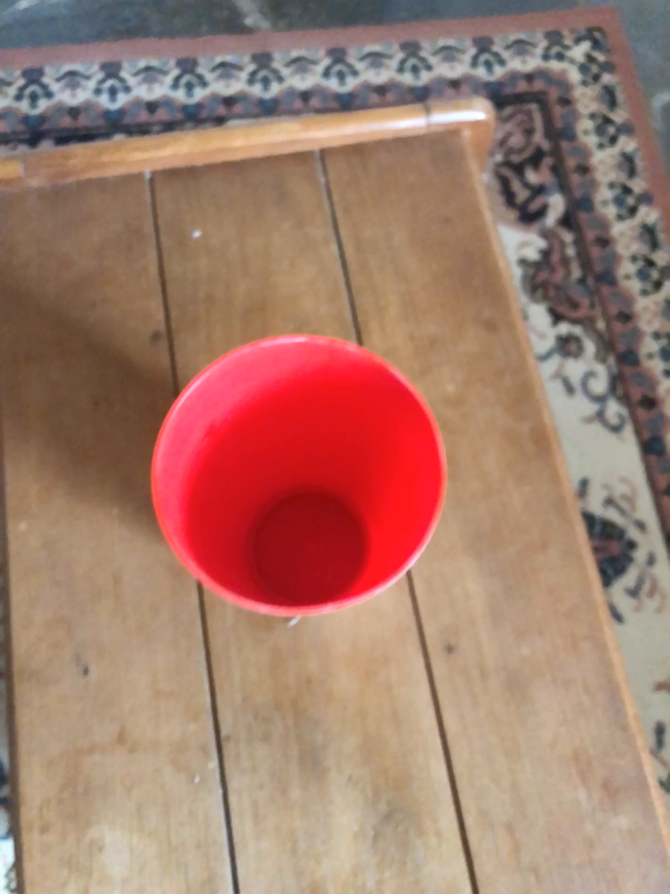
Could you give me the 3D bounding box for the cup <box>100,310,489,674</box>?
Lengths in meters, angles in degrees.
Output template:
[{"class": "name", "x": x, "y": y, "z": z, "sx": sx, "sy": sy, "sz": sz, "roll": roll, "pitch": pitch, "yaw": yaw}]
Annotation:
[{"class": "cup", "x": -0.016, "y": 0.026, "z": 0.282, "sx": 0.100, "sy": 0.120, "sz": 0.090, "roll": -12, "pitch": 73, "yaw": -5}]
